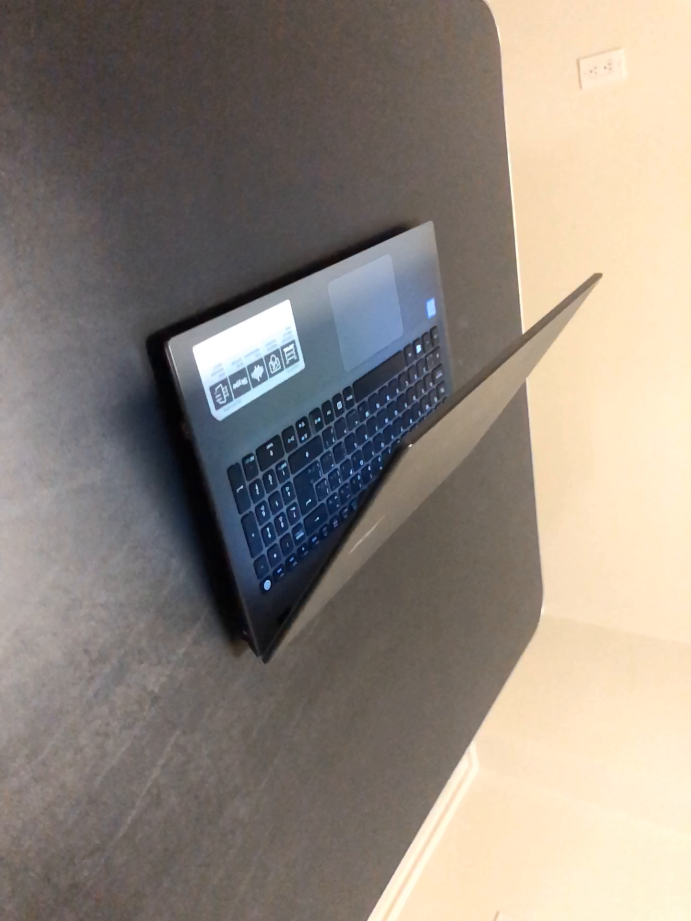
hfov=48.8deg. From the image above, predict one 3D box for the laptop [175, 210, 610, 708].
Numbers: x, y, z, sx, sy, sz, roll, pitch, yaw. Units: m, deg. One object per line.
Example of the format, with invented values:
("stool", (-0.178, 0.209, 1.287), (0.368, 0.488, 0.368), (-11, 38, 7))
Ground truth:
("laptop", (0.080, -0.035, 0.626), (0.370, 0.155, 0.251), (-39, 126, -47))
